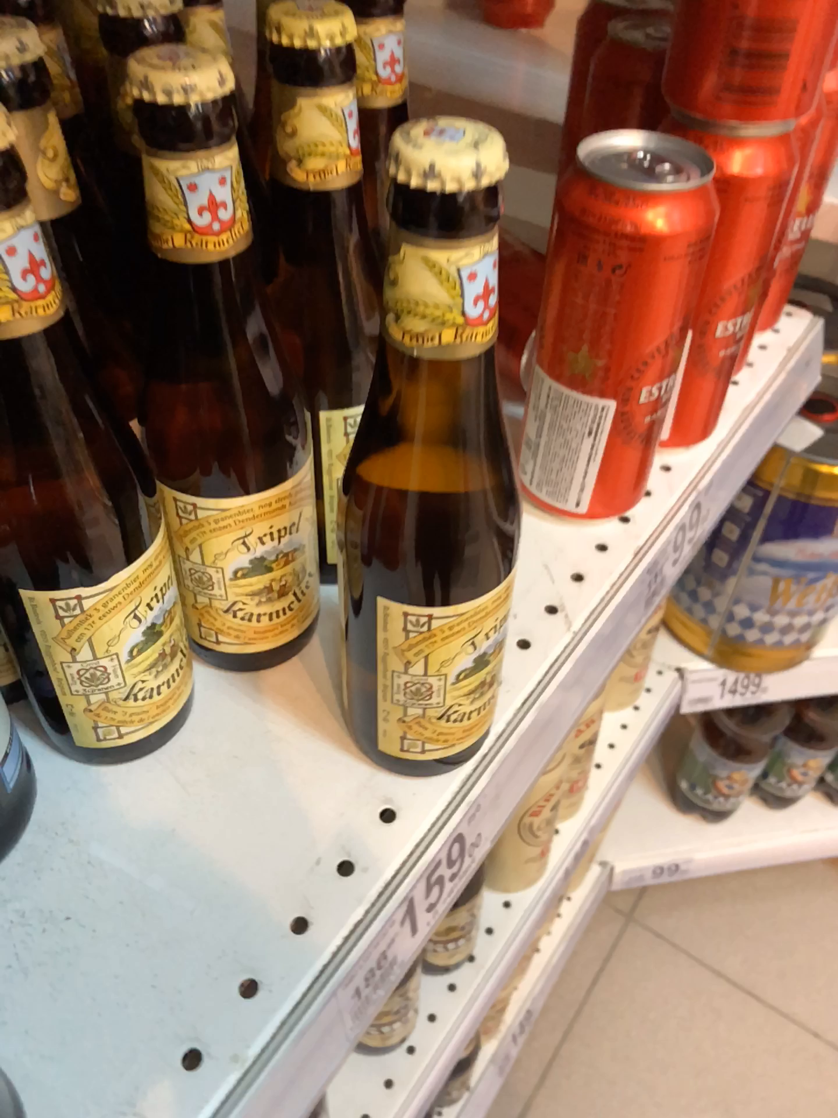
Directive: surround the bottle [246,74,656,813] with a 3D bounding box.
[{"bbox_3d":[0.003,-0.021,0.297,0.070,0.219,0.070,2,44,-2],"label":"bottle"}]
